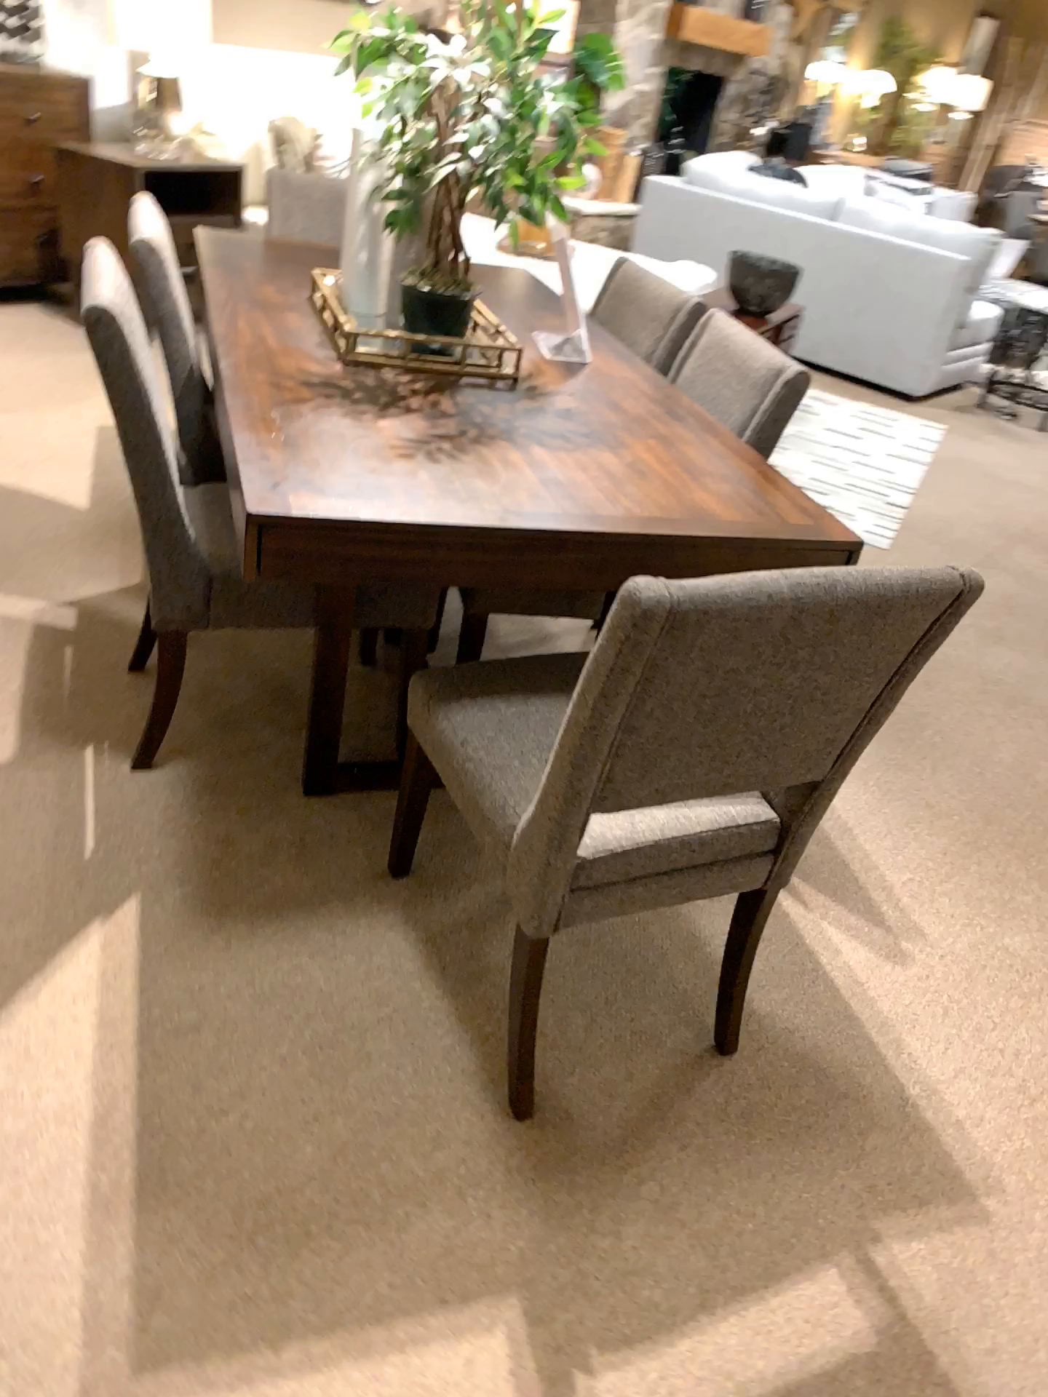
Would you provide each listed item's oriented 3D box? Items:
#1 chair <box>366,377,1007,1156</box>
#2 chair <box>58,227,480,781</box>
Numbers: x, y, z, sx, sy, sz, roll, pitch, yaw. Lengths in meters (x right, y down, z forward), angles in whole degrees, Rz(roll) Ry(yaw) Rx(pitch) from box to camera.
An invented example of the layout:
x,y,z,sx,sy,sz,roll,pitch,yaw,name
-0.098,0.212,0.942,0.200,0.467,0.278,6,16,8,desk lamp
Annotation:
x,y,z,sx,sy,sz,roll,pitch,yaw,name
0.133,0.069,1.568,0.480,0.863,0.633,-5,35,-26,chair
-0.514,-0.349,2.035,0.631,0.863,0.482,-1,33,-20,chair
